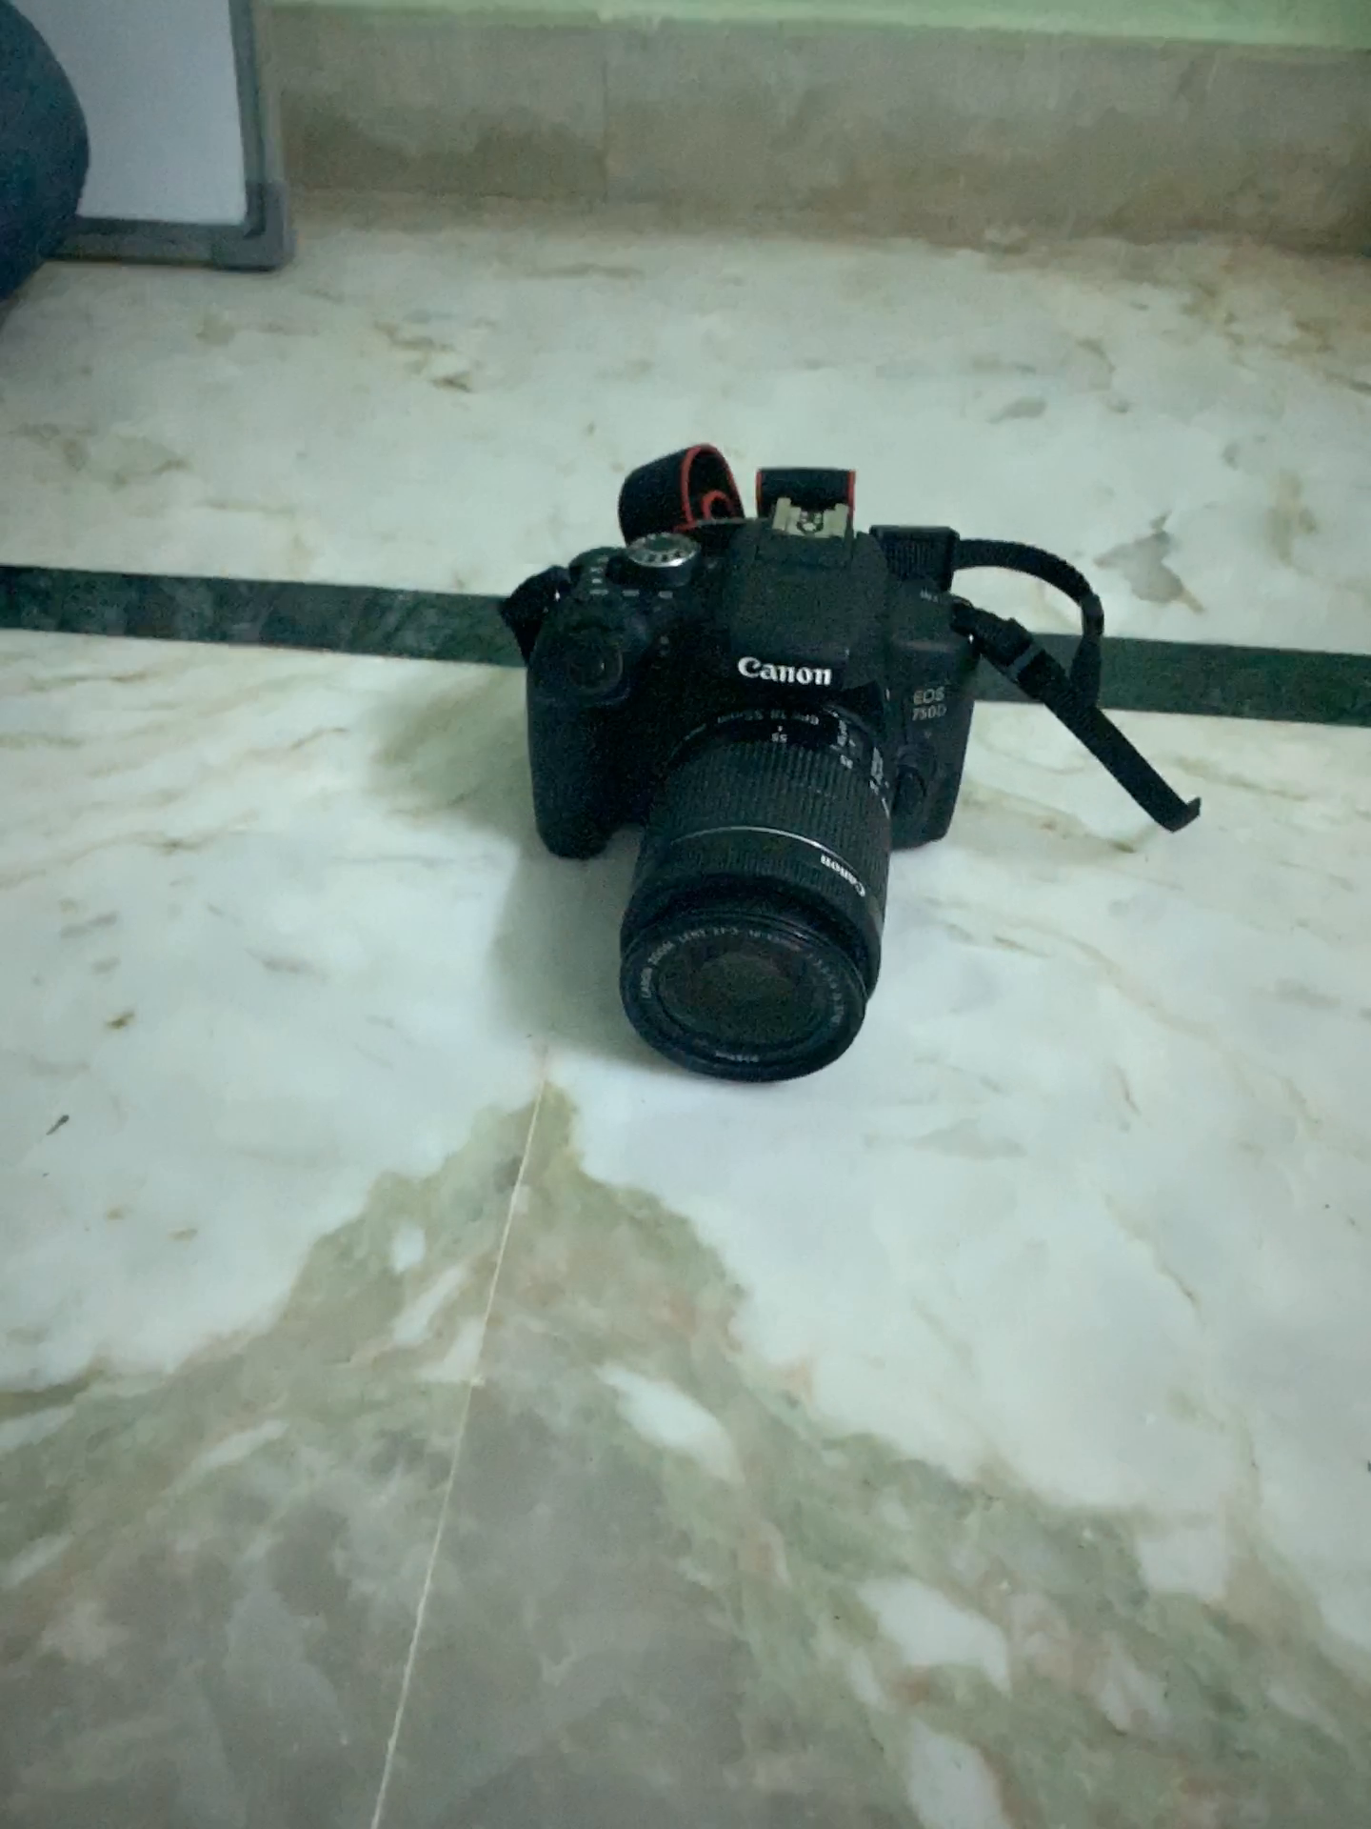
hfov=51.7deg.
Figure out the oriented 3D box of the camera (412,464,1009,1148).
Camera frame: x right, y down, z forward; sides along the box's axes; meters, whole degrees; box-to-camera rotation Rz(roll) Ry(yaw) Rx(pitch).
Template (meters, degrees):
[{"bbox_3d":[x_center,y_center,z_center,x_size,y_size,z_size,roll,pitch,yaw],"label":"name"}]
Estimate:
[{"bbox_3d":[0.014,-0.037,0.393,0.128,0.100,0.161,6,43,5],"label":"camera"}]
